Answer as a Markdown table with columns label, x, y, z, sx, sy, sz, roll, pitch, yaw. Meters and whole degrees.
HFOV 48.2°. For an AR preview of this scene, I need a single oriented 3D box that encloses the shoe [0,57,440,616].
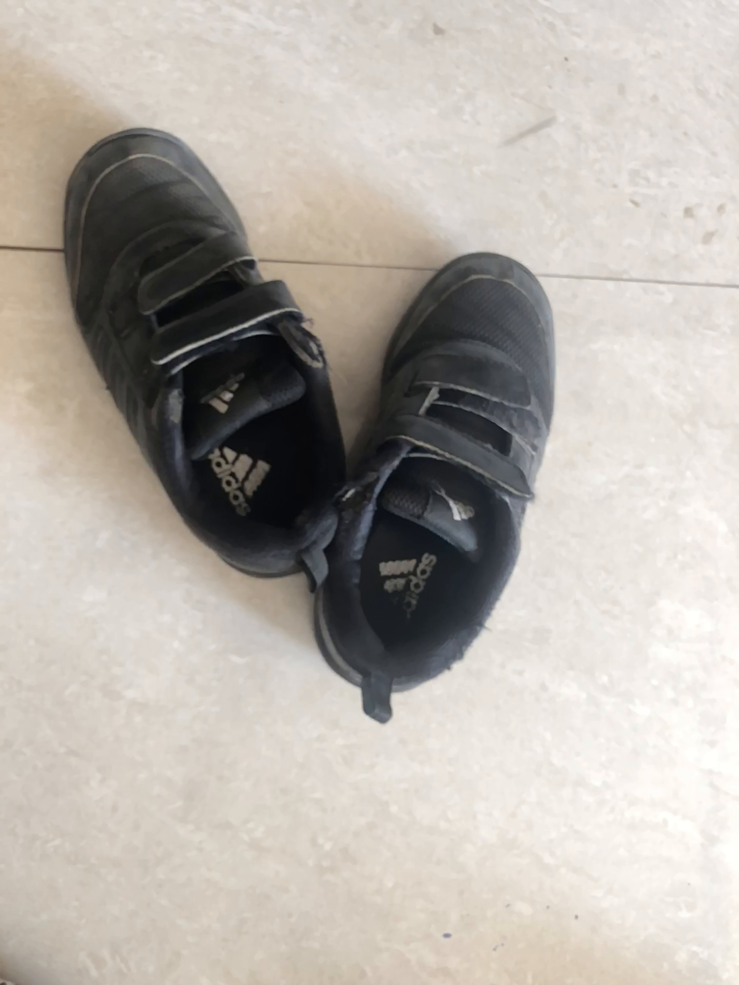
| label | x | y | z | sx | sy | sz | roll | pitch | yaw |
| --- | --- | --- | --- | --- | --- | --- | --- | --- | --- |
| shoe | -0.066 | -0.062 | 0.366 | 0.100 | 0.080 | 0.200 | -27 | 91 | -9 |

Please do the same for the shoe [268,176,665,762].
| label | x | y | z | sx | sy | sz | roll | pitch | yaw |
| --- | --- | --- | --- | --- | --- | --- | --- | --- | --- |
| shoe | 0.038 | -0.009 | 0.388 | 0.100 | 0.100 | 0.220 | 20 | 84 | -7 |
